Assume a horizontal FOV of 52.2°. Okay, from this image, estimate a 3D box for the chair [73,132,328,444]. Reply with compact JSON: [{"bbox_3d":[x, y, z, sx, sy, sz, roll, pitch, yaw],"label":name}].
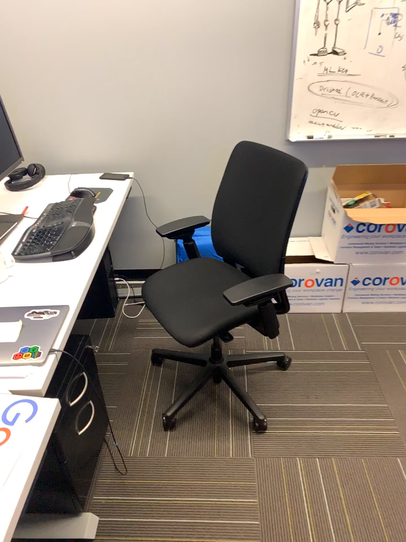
[{"bbox_3d":[-0.040,0.003,1.818,0.610,0.945,0.834,-21,36,-27],"label":"chair"}]
